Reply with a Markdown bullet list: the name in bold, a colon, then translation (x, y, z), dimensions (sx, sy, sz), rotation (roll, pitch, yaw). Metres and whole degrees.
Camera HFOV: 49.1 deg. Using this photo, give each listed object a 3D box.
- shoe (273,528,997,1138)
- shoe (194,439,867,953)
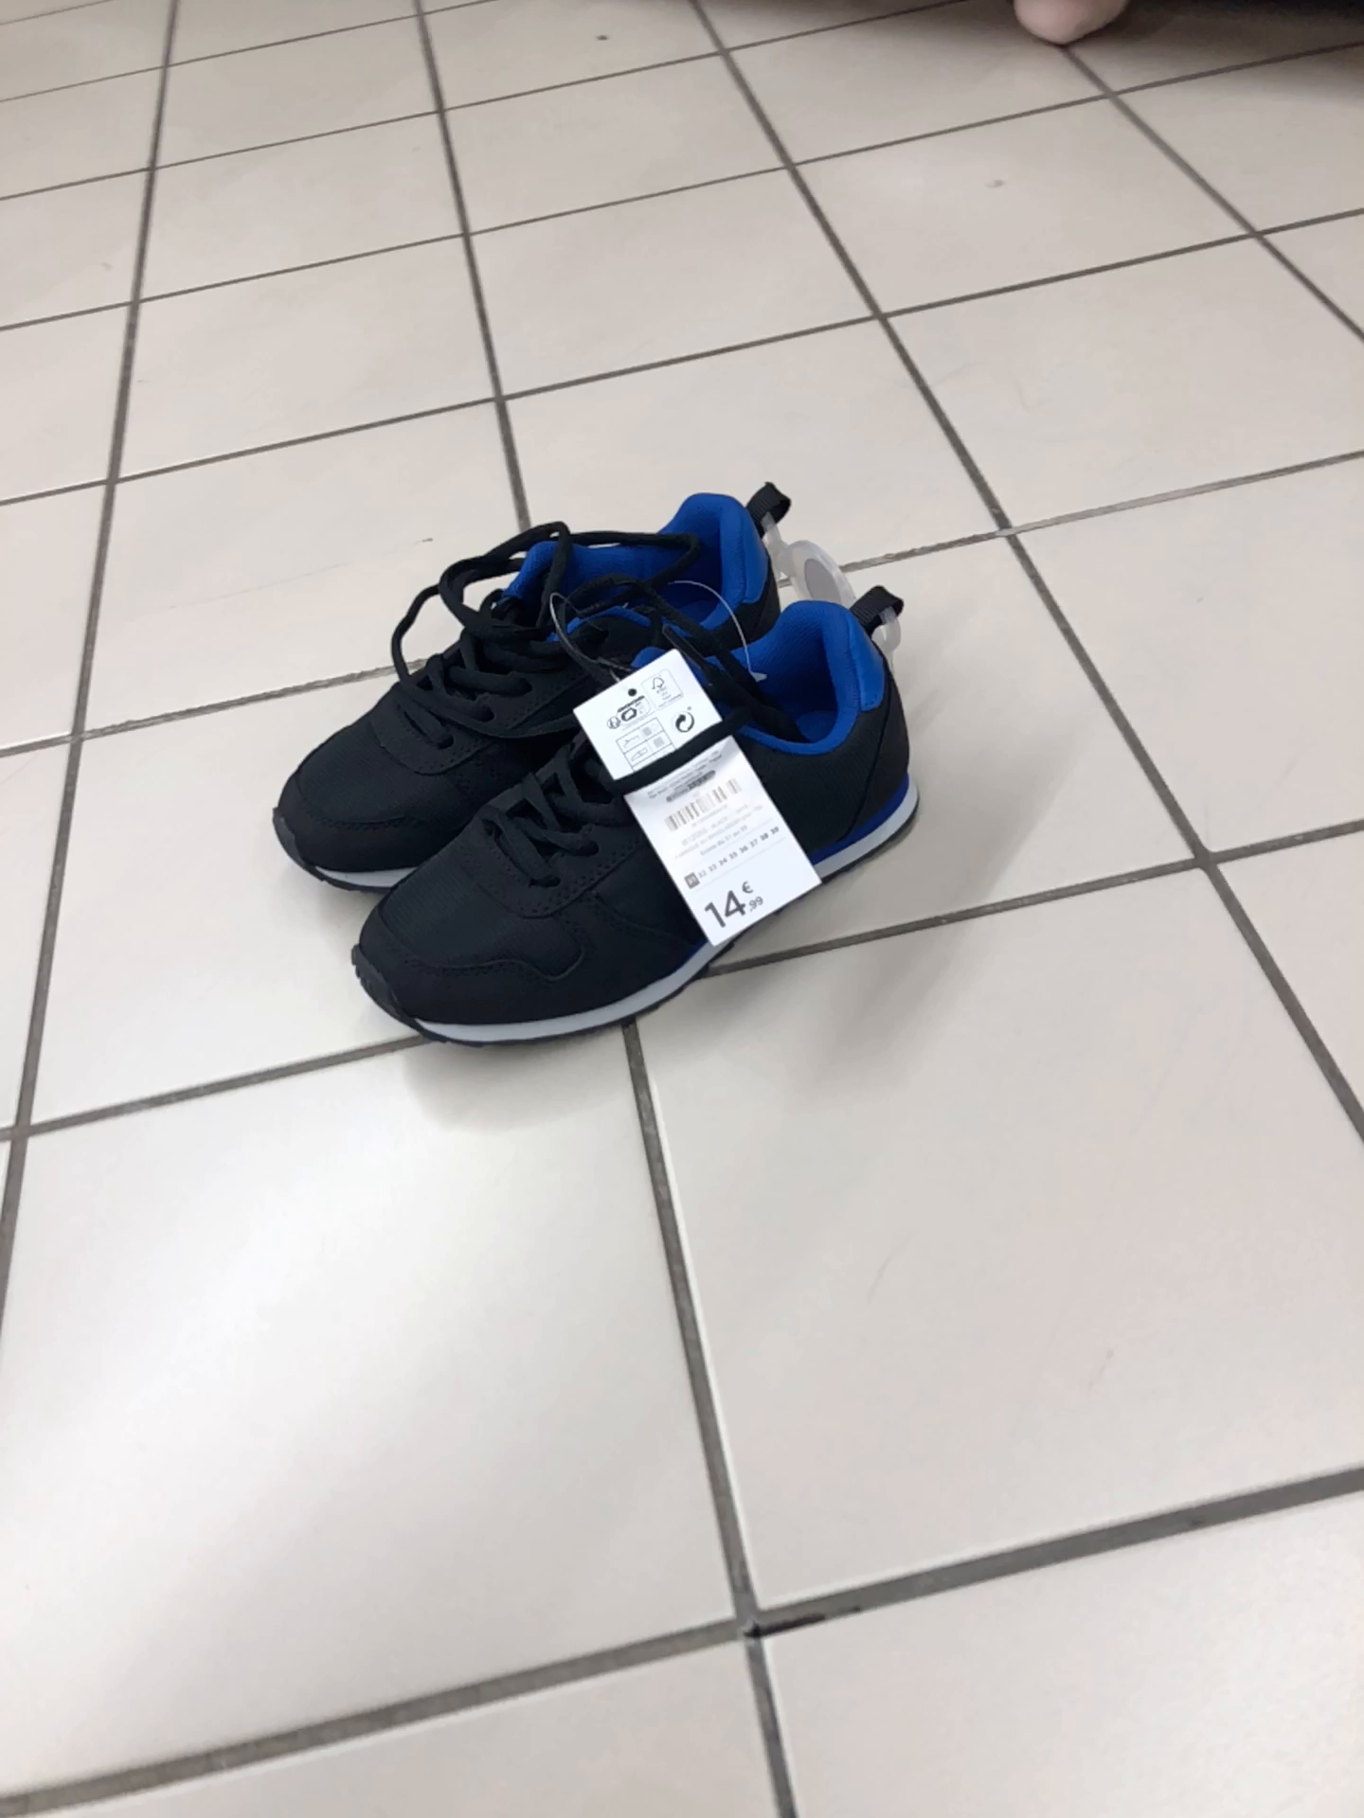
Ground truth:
- **shoe**: translation (-0.008, -0.031, 0.481), dimensions (0.212, 0.071, 0.085), rotation (-31, 51, -18)
- **shoe**: translation (-0.048, -0.082, 0.532), dimensions (0.217, 0.061, 0.085), rotation (-30, 50, -16)
